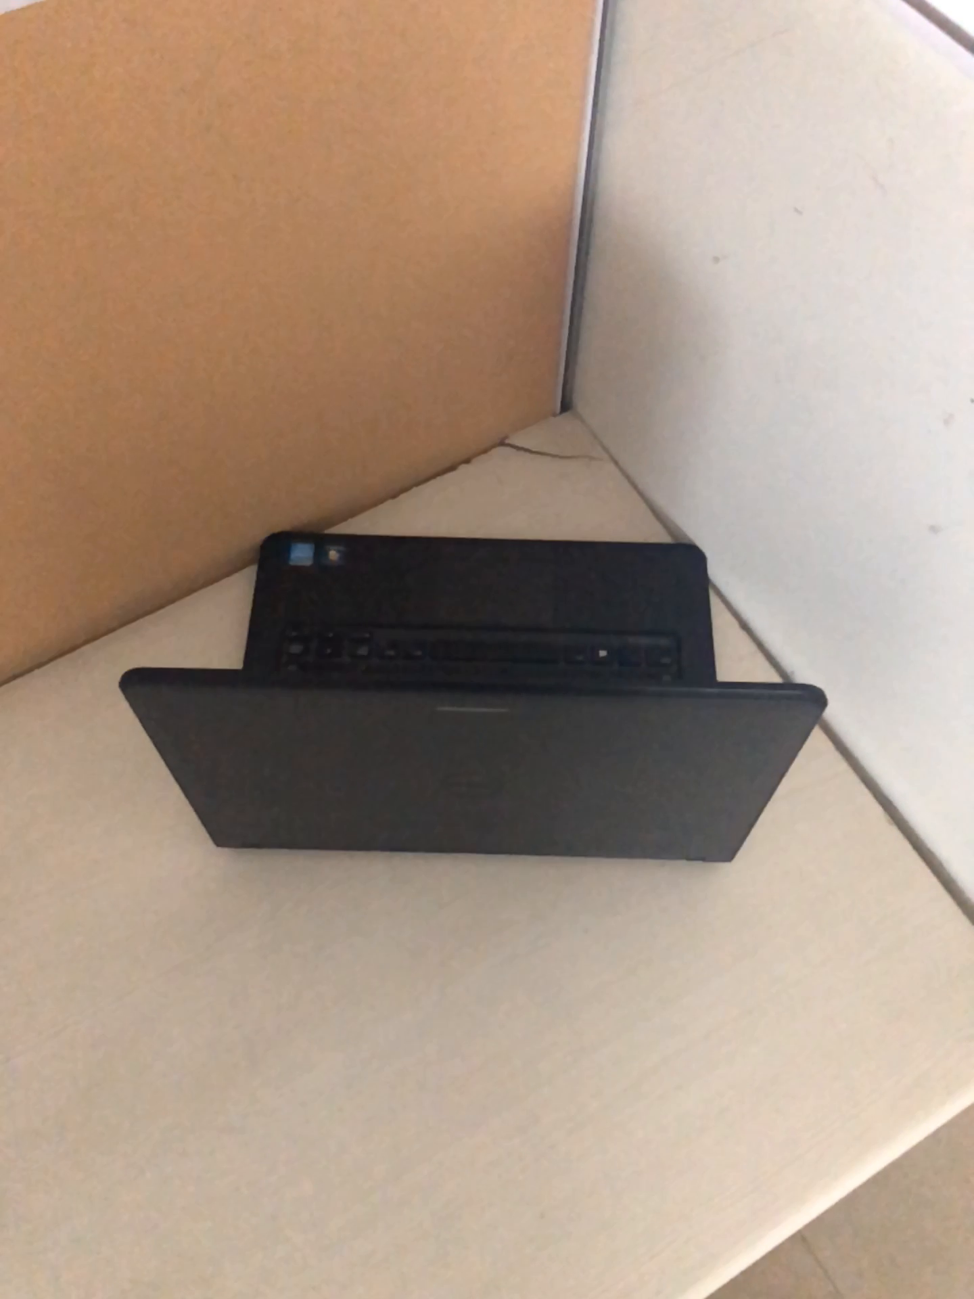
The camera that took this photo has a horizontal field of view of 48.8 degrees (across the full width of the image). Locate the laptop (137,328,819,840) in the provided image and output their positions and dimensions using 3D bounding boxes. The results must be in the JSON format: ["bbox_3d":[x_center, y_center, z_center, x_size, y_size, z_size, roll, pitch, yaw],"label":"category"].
[{"bbox_3d":[0.000,-0.028,0.623,0.304,0.212,0.215,2,62,1],"label":"laptop"}]
